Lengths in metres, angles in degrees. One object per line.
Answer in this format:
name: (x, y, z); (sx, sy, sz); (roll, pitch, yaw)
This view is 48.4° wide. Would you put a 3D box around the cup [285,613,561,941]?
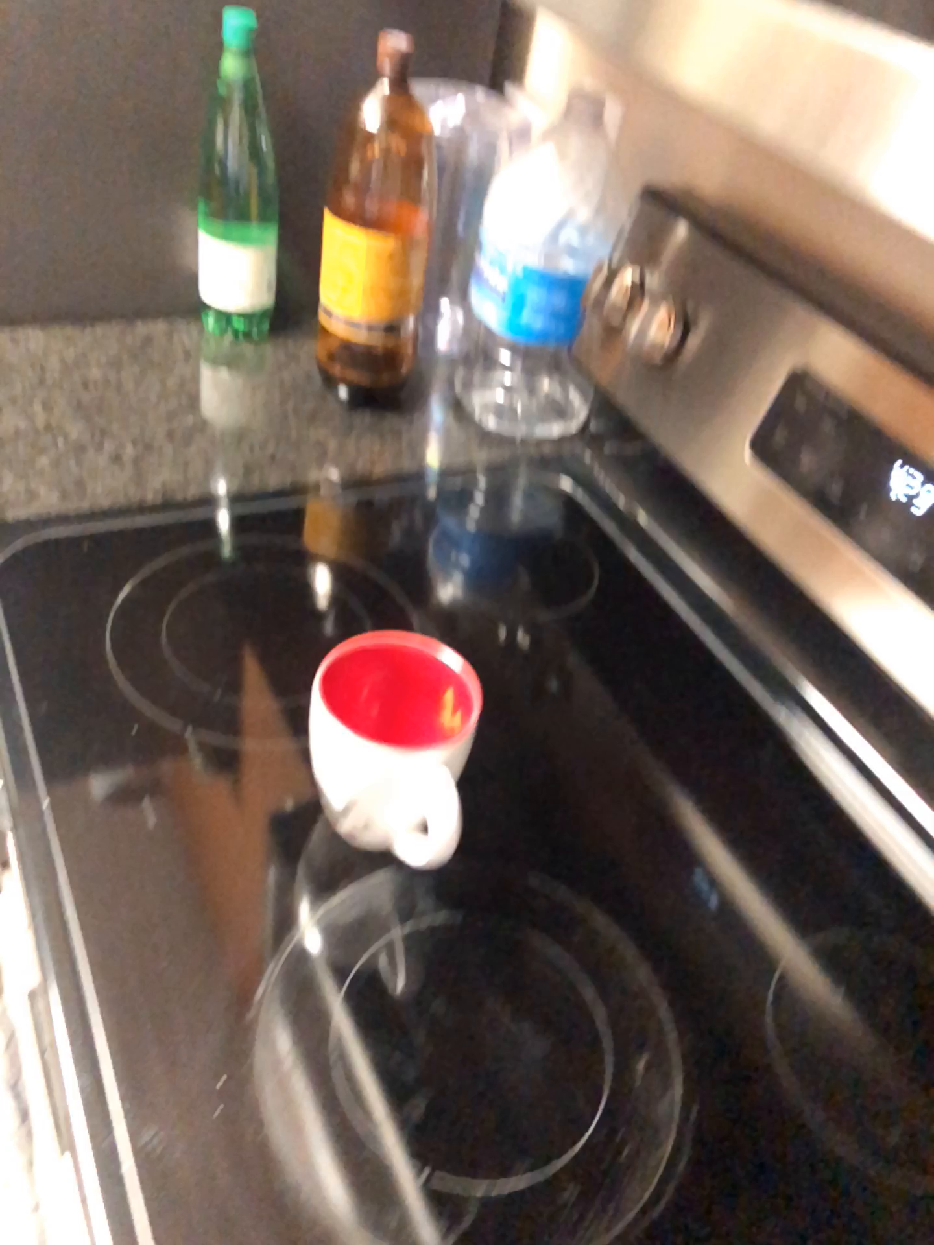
cup: (-0.033, 0.085, 0.610); (0.100, 0.100, 0.140); (-12, 45, -26)
